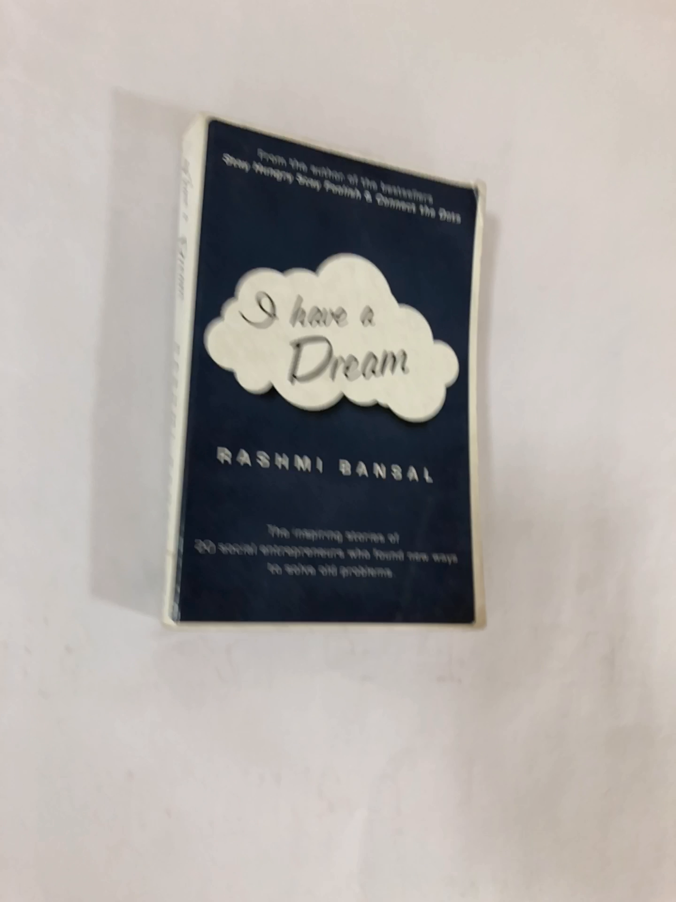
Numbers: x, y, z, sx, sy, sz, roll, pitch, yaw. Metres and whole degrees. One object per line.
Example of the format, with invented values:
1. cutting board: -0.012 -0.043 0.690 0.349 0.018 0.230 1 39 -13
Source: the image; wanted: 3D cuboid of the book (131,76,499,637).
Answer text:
1. book: -0.002 -0.030 0.305 0.141 0.030 0.200 6 81 -25
